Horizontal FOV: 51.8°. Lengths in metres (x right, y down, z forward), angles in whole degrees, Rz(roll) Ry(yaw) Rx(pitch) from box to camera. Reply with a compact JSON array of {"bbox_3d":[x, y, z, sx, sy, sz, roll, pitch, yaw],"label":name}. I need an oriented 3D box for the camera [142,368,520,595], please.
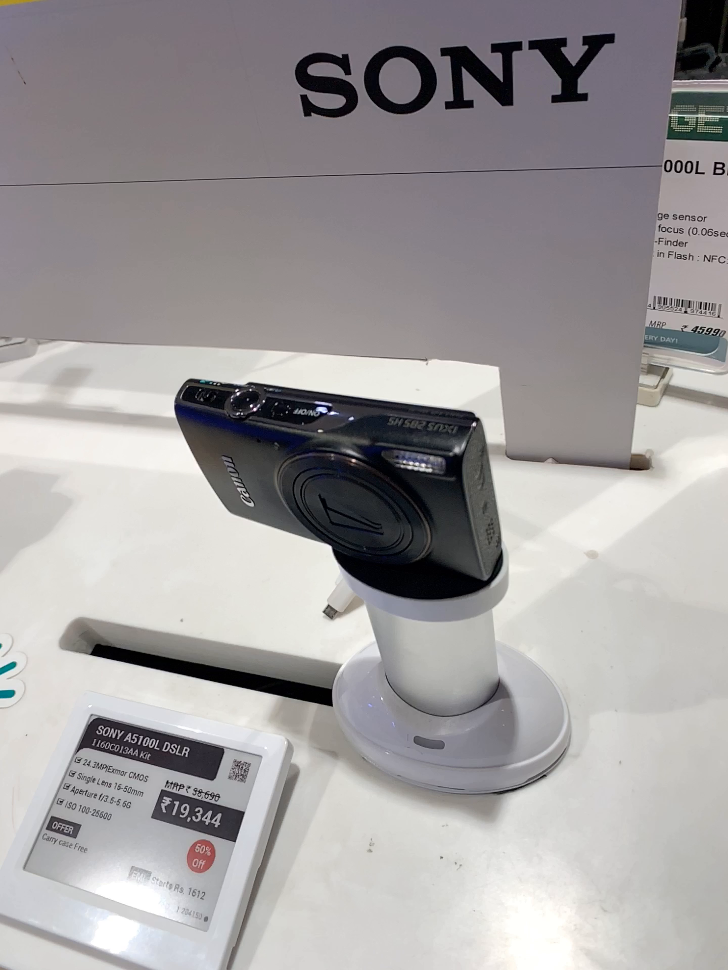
[{"bbox_3d":[-0.008,-0.002,0.214,0.100,0.050,0.020,11,51,22],"label":"camera"}]
